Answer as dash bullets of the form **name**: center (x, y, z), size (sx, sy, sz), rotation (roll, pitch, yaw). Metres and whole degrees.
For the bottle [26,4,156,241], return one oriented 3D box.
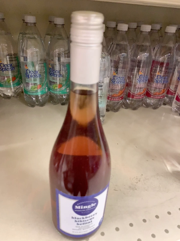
- **bottle**: center (-0.014, 0.032, 0.235), size (0.090, 0.298, 0.080), rotation (-3, 33, -12)
